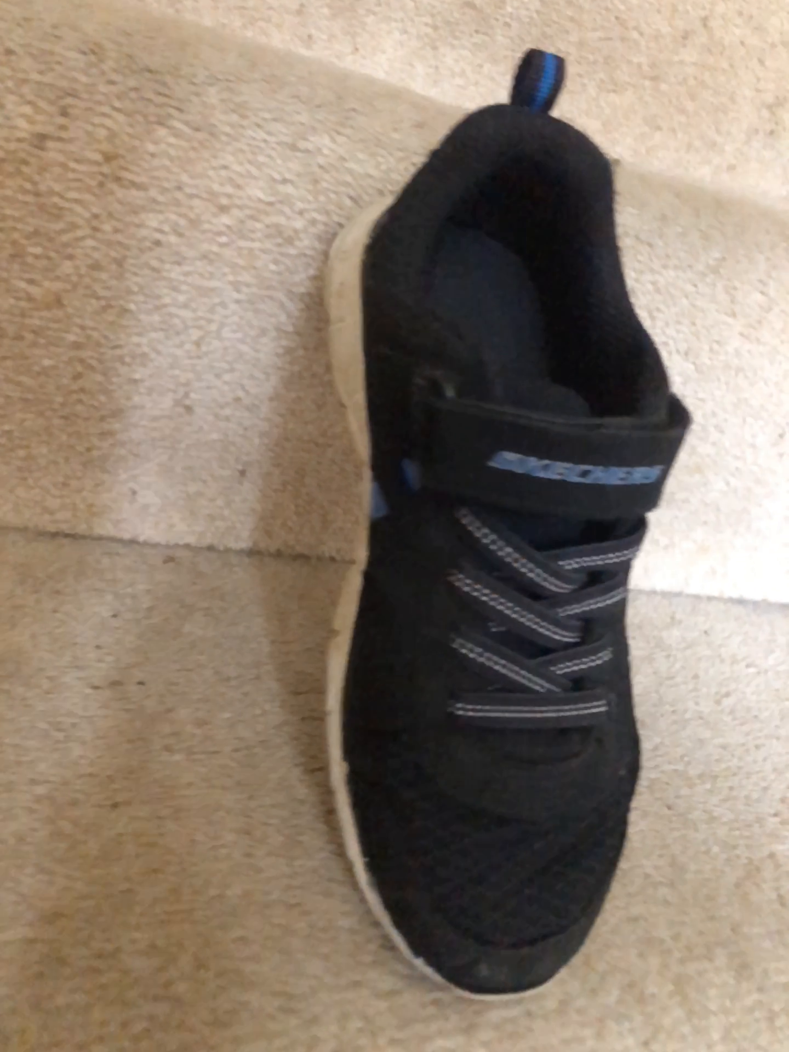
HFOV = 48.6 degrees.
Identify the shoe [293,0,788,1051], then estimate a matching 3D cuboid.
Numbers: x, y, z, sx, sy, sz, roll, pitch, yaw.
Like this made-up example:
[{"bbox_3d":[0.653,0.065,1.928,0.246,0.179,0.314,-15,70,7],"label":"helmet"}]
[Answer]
[{"bbox_3d":[0.029,-0.004,0.229,0.090,0.221,0.100,4,-11,-14],"label":"shoe"}]
